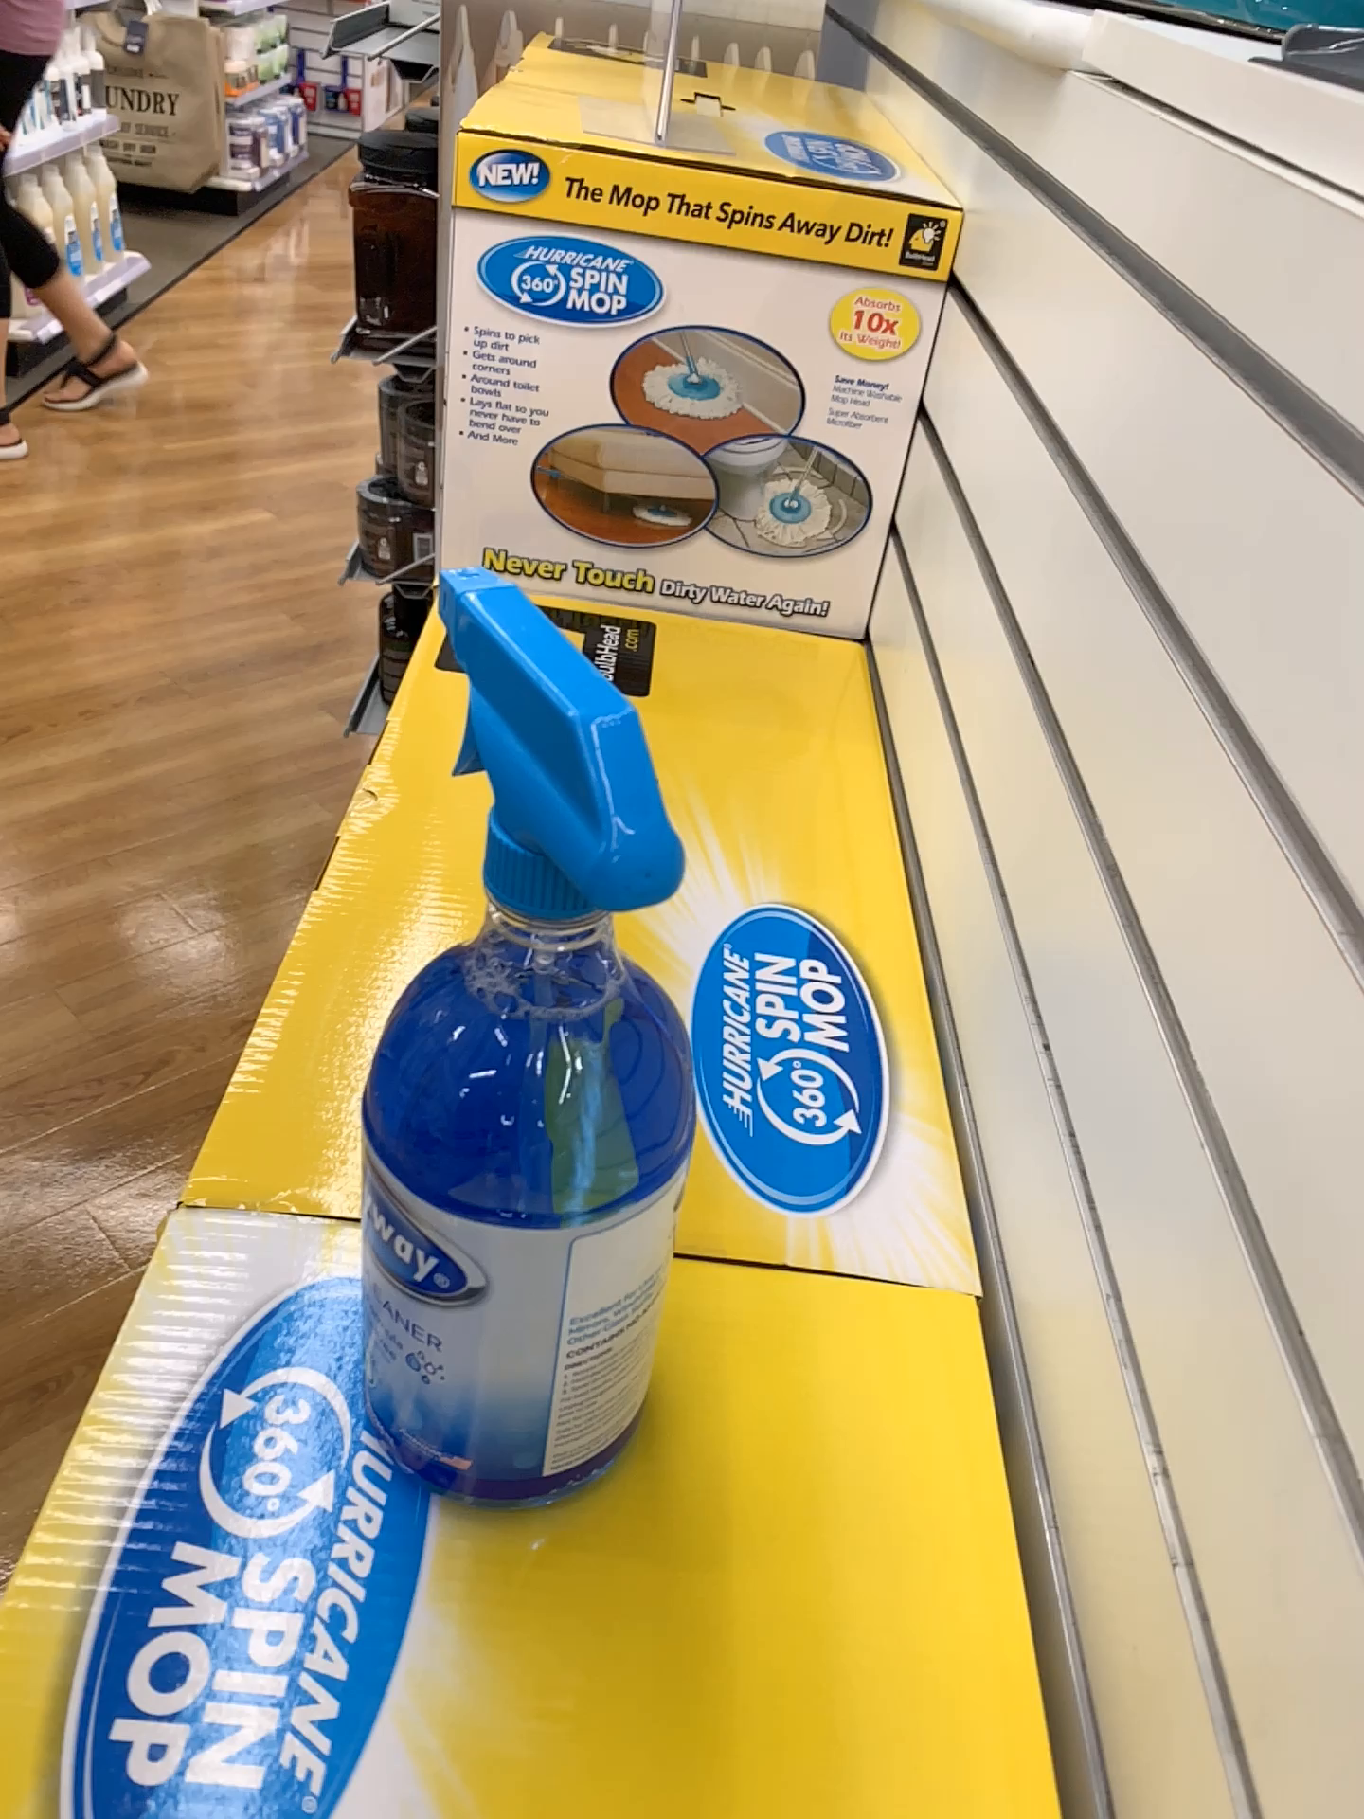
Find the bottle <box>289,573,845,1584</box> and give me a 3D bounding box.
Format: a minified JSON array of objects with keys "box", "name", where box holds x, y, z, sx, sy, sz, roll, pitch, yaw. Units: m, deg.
[{"box":[-0.046,0.049,0.363,0.090,0.239,0.110,-6,39,-21],"name":"bottle"}]
